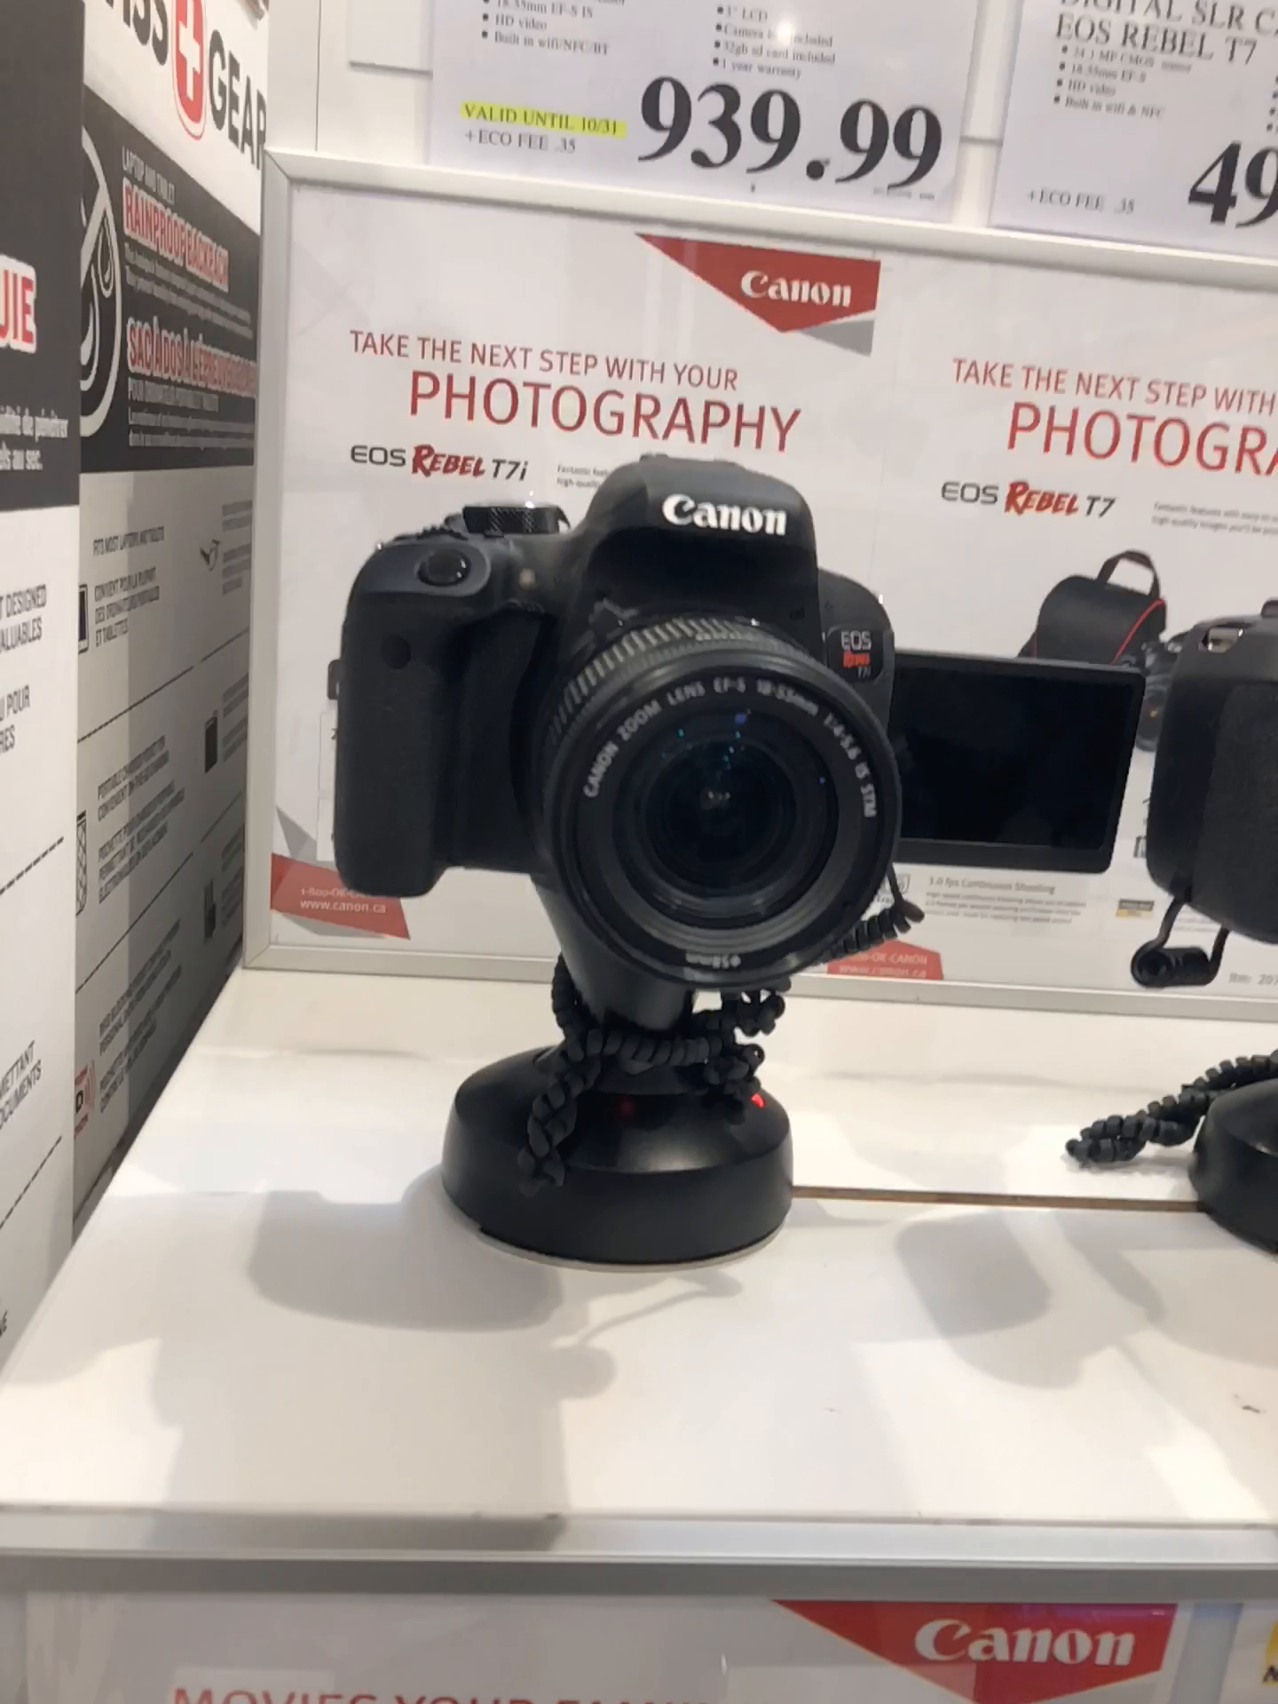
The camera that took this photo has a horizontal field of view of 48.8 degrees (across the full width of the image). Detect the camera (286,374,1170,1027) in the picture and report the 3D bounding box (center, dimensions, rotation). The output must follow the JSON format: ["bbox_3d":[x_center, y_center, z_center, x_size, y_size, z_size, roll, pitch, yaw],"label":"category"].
[{"bbox_3d":[0.006,-0.040,0.308,0.140,0.100,0.151,4,15,-7],"label":"camera"}]
